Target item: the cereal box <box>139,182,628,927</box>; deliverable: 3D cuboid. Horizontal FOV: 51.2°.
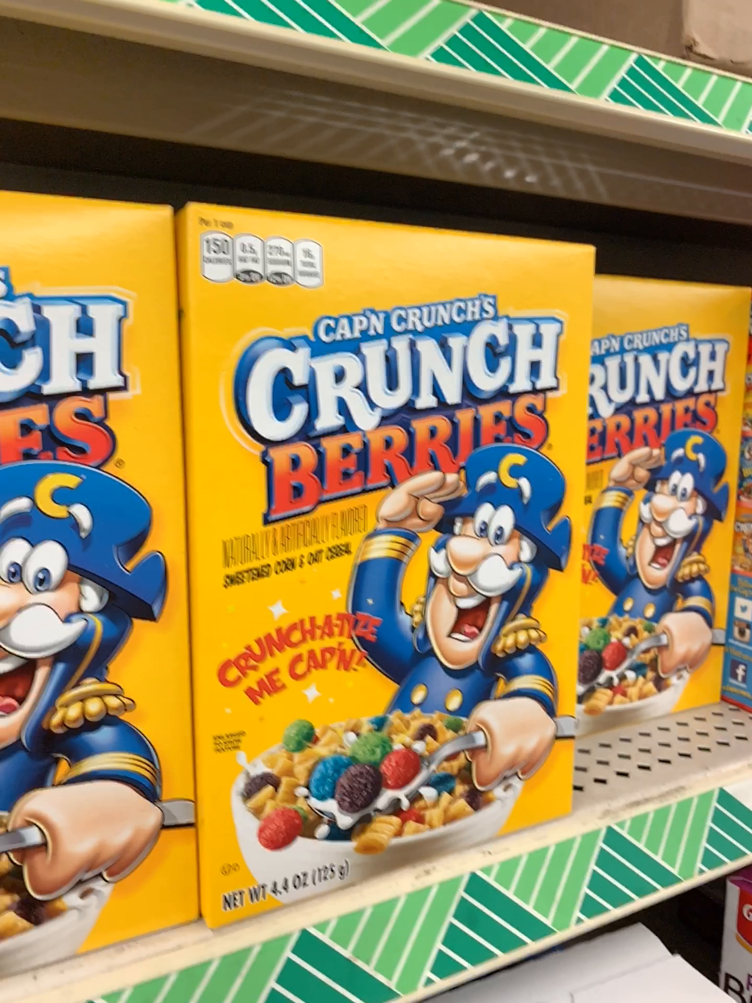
[{"bbox_3d":[0.007,0.012,0.263,0.150,0.200,0.050,-4,8,-27],"label":"cereal box"}]
